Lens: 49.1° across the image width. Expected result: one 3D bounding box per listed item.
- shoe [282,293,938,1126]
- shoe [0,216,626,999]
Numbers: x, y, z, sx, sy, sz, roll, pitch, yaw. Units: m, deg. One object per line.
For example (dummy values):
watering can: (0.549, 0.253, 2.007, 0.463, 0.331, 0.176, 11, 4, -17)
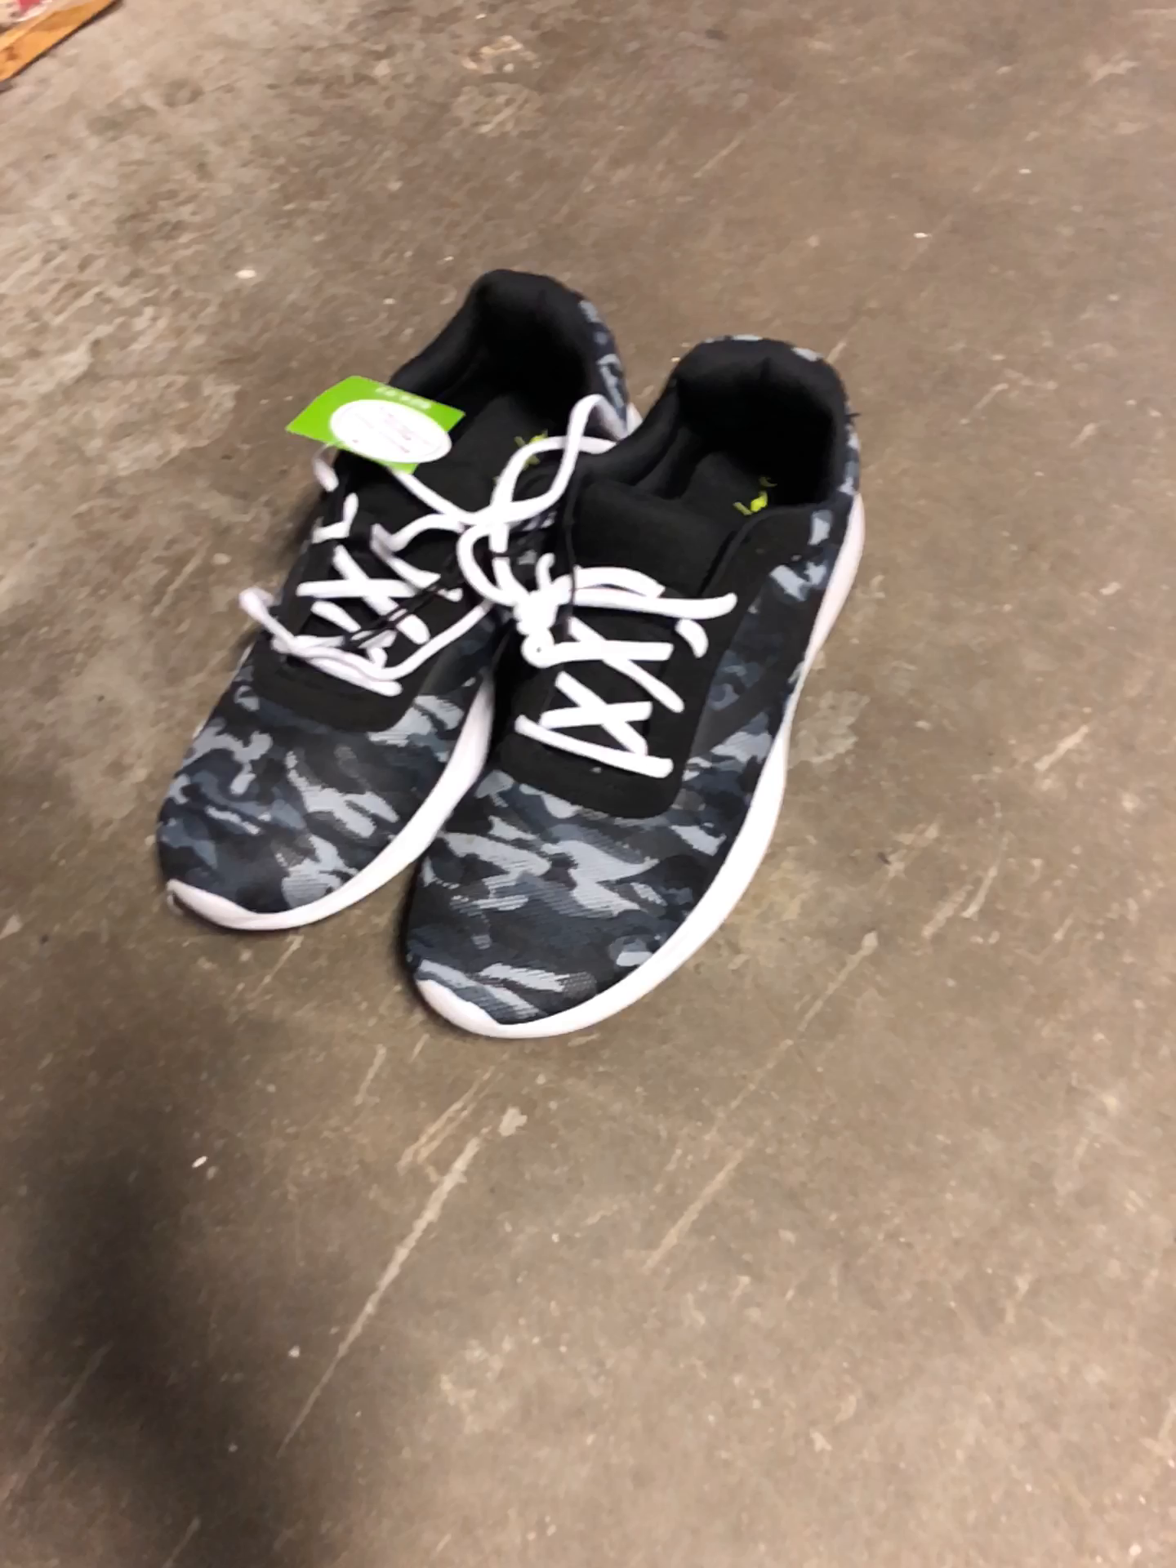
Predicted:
shoe: (0.022, -0.033, 0.489, 0.120, 0.139, 0.261, 21, 63, 15)
shoe: (-0.091, -0.074, 0.511, 0.110, 0.139, 0.261, 21, 63, 15)
